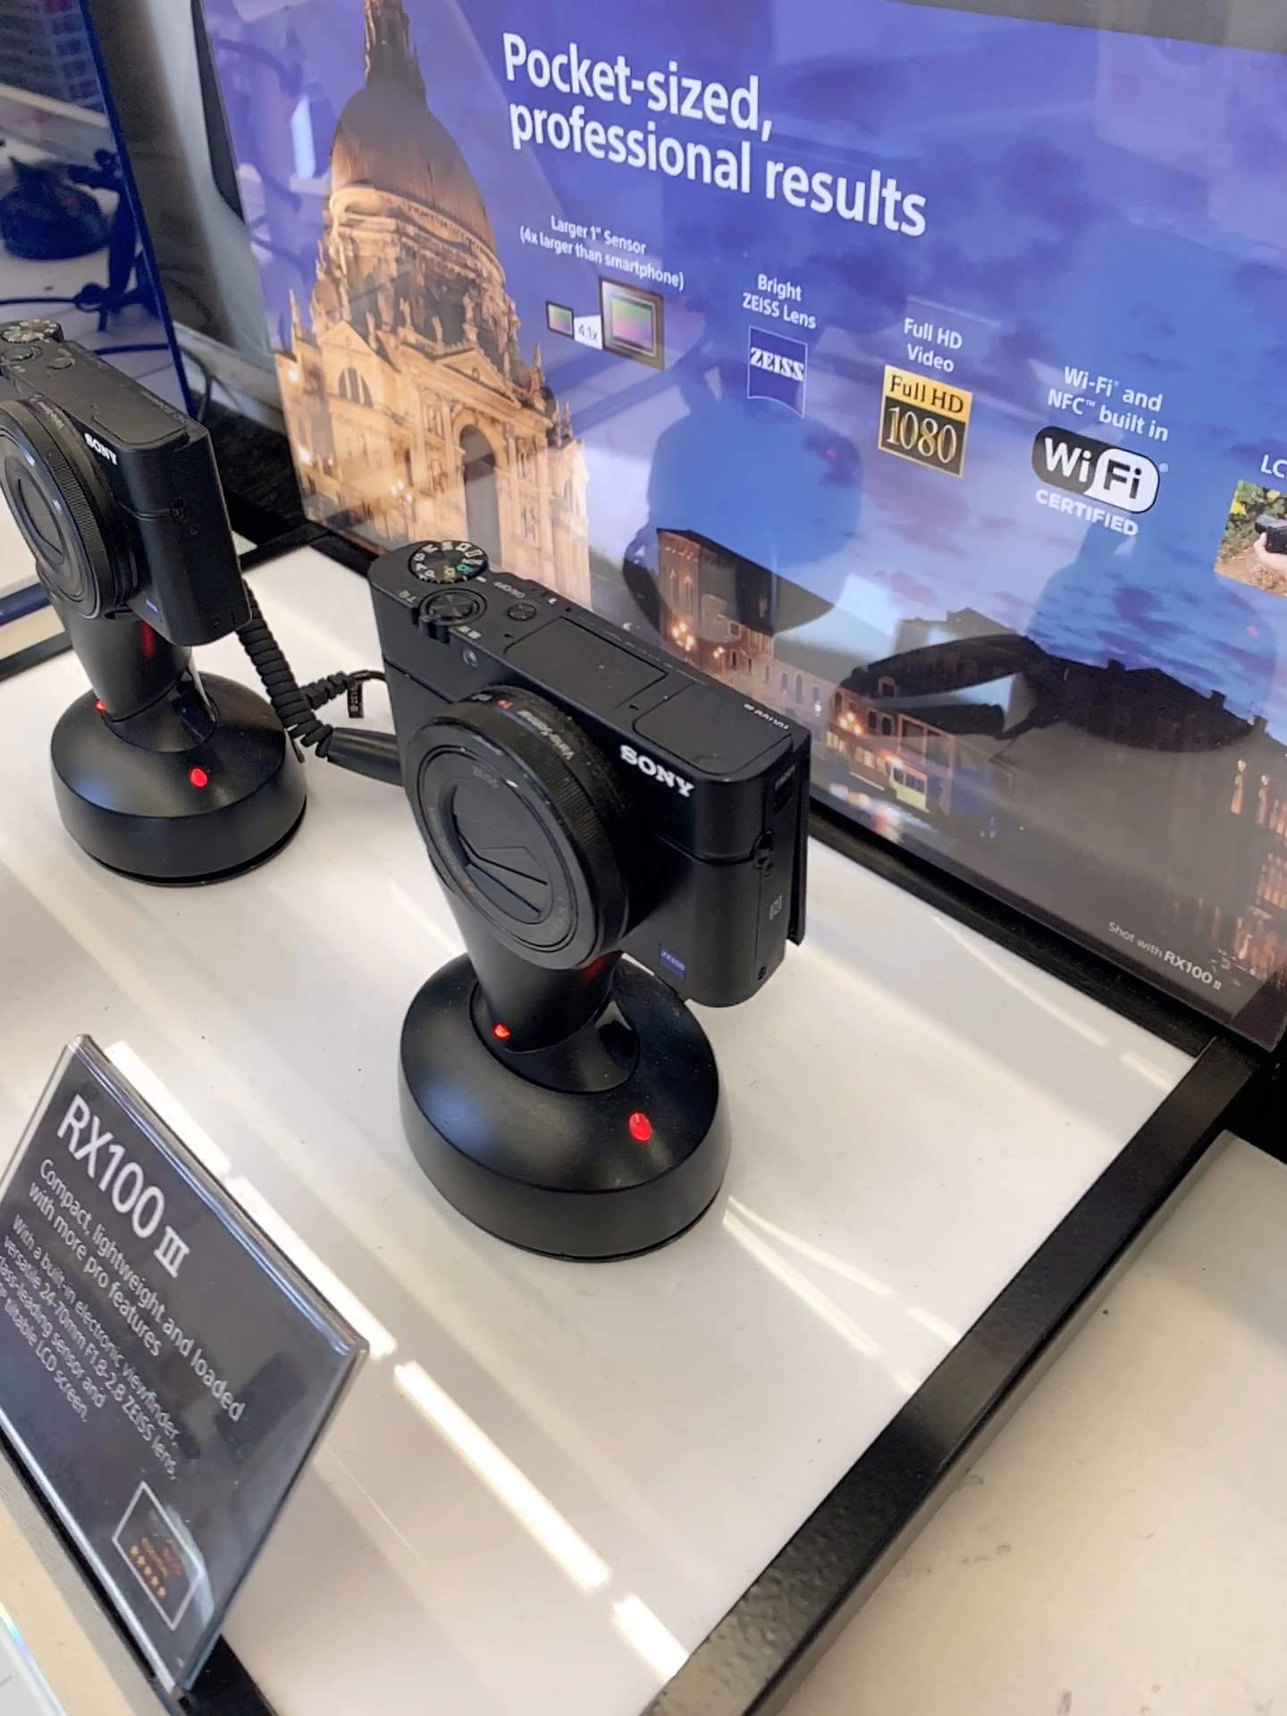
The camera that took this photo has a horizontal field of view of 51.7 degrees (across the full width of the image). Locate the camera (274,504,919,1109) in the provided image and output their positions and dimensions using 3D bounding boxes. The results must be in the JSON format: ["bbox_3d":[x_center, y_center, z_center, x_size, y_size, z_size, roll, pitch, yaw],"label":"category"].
[{"bbox_3d":[-0.011,-0.015,0.255,0.111,0.059,0.050,30,51,31],"label":"camera"}]
